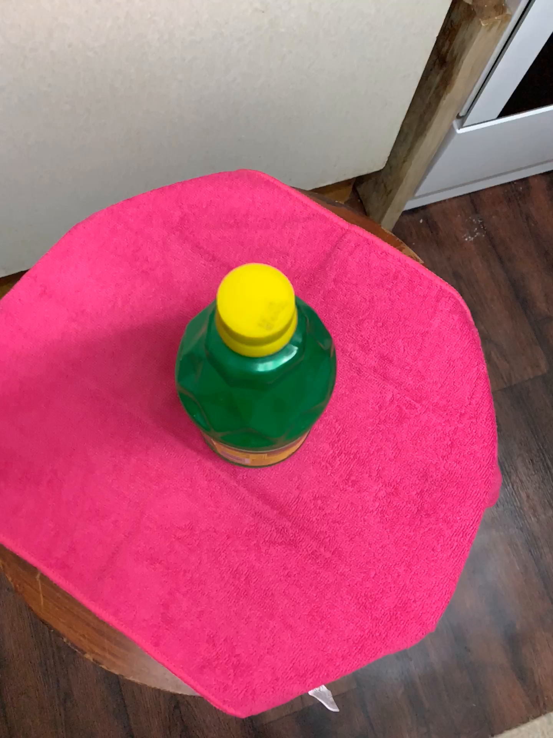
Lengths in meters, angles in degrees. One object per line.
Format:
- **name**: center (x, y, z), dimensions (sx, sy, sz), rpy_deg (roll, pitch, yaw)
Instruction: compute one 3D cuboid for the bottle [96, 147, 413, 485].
- **bottle**: center (-0.010, -0.001, 0.319), dimensions (0.090, 0.229, 0.100), rpy_deg (18, 76, 1)
